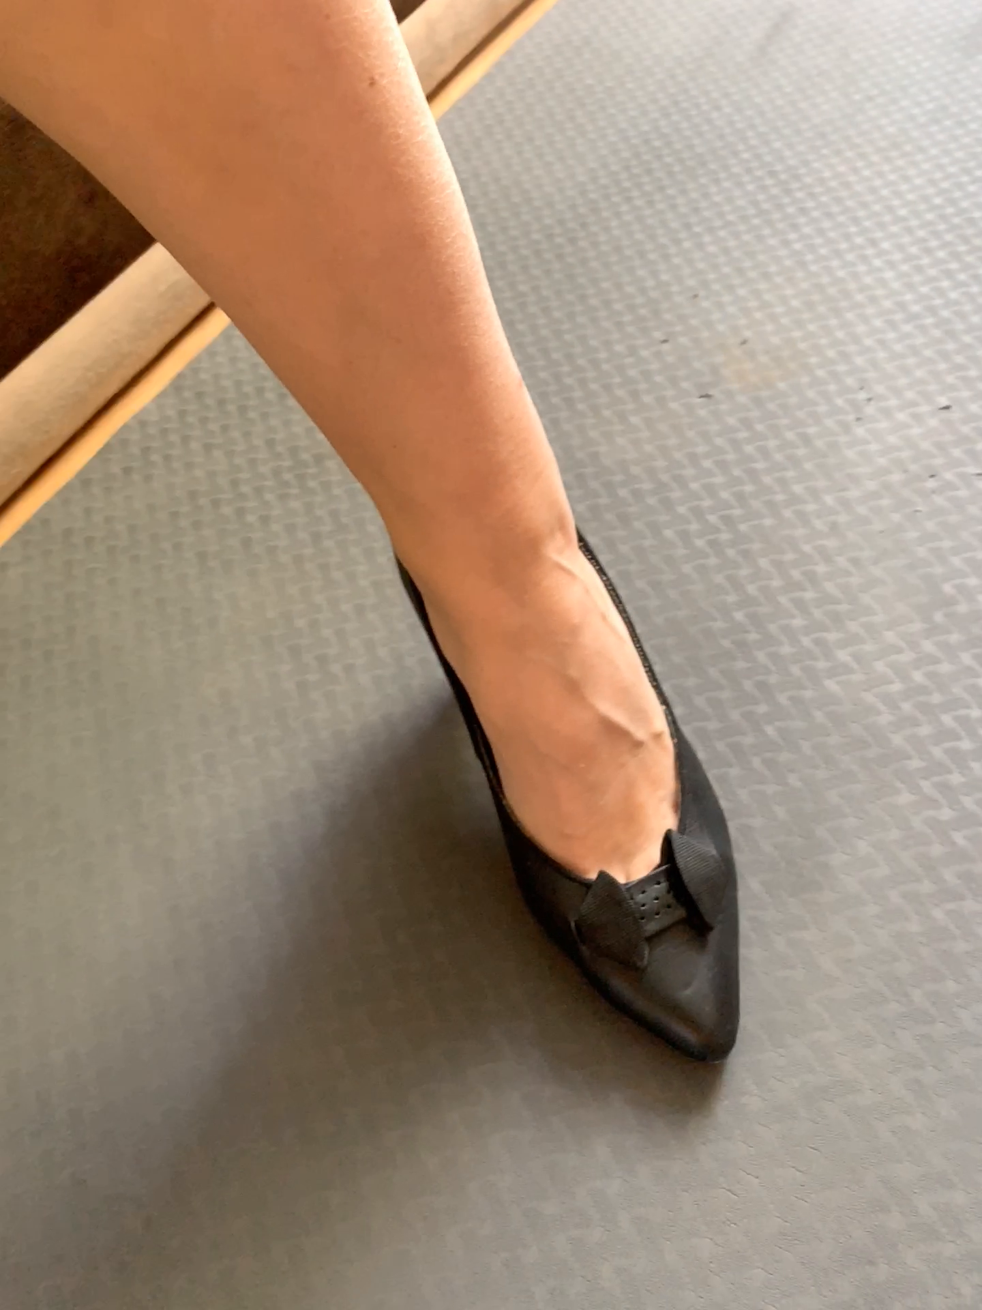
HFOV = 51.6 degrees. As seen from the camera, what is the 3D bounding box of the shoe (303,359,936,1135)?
[{"bbox_3d":[0.027,0.019,0.345,0.090,0.100,0.231,-24,55,-7],"label":"shoe"}]
